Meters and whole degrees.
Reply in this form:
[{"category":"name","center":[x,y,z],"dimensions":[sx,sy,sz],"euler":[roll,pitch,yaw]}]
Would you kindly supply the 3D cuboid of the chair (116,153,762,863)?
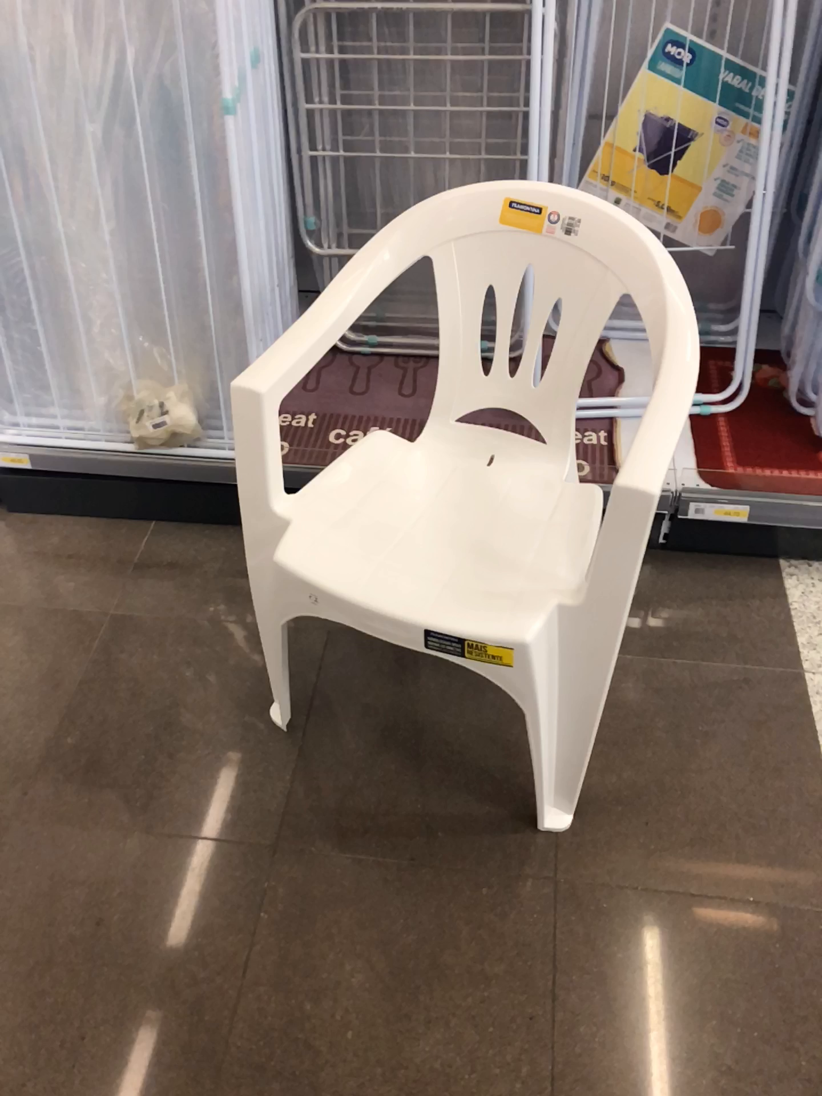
[{"category":"chair","center":[0.088,-0.071,1.313],"dimensions":[0.601,0.705,0.604],"euler":[13,47,16]}]
